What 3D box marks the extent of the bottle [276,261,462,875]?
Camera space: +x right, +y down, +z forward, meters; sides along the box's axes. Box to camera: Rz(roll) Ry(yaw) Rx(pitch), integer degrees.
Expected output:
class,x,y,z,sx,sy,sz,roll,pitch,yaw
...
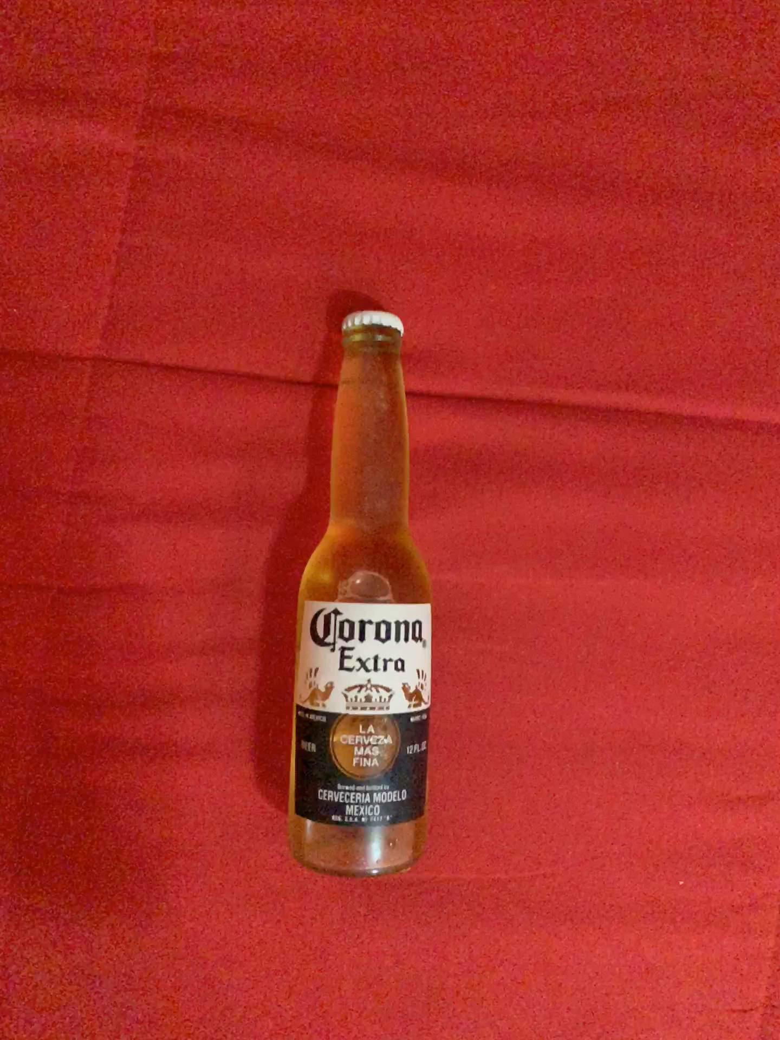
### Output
class,x,y,z,sx,sy,sz,roll,pitch,yaw
bottle,-0.010,0.021,0.361,0.070,0.070,0.250,1,91,-3
